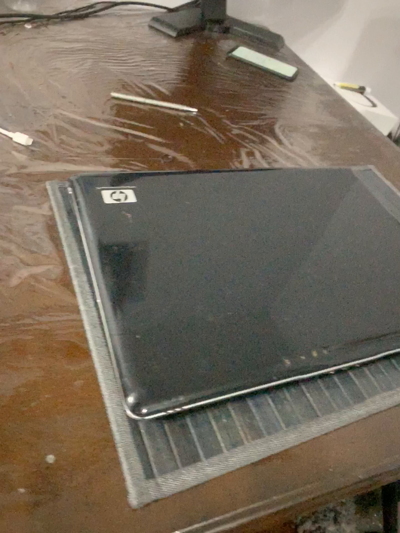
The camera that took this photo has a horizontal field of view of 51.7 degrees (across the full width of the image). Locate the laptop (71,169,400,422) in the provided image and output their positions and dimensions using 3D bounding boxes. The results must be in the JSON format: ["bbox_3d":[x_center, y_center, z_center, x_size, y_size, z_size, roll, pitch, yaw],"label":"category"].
[{"bbox_3d":[0.071,-0.015,0.390,0.340,0.009,0.231,-7,52,-26],"label":"laptop"}]
